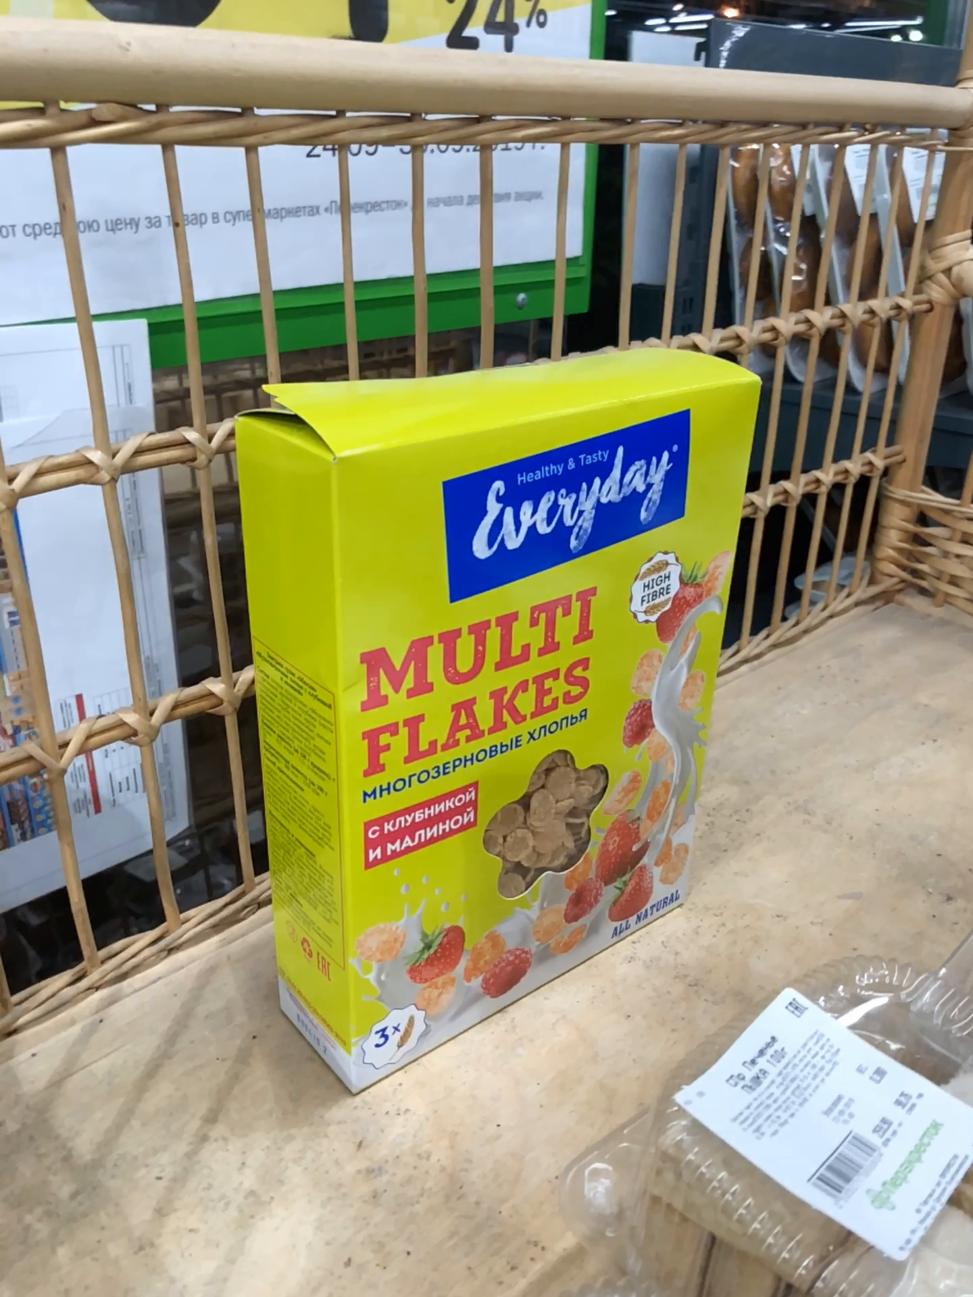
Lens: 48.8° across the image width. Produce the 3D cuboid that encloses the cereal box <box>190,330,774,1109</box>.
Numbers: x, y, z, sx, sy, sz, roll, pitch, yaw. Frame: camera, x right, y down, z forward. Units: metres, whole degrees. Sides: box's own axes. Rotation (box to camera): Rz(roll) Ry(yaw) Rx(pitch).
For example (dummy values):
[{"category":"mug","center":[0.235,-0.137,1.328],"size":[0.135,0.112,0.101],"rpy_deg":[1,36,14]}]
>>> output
[{"category":"cereal box","center":[0.003,0.018,0.381],"size":[0.180,0.229,0.060],"rpy_deg":[-18,33,-34]}]
